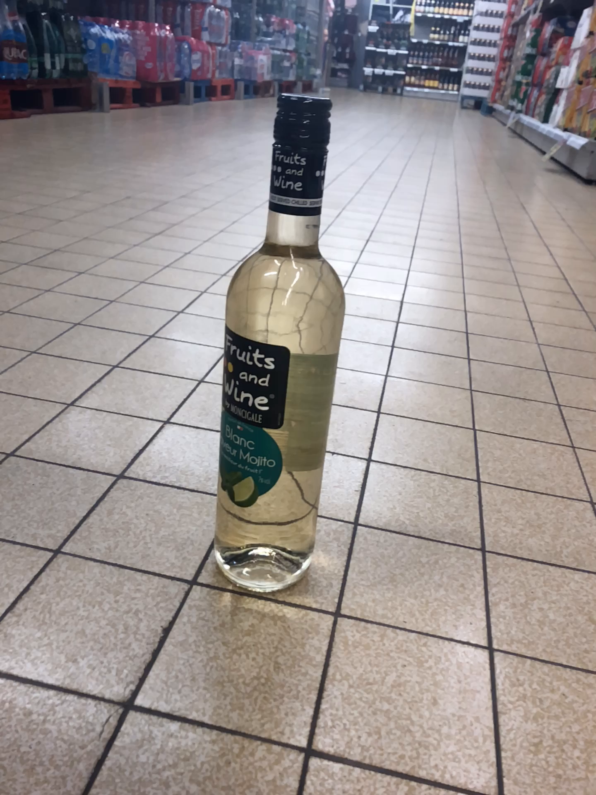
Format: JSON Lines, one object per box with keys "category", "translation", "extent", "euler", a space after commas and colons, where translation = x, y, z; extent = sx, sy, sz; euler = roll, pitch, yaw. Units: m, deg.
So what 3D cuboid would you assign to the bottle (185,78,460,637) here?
{"category": "bottle", "translation": [0.004, -0.018, 0.391], "extent": [0.100, 0.298, 0.091], "euler": [20, 28, 26]}
